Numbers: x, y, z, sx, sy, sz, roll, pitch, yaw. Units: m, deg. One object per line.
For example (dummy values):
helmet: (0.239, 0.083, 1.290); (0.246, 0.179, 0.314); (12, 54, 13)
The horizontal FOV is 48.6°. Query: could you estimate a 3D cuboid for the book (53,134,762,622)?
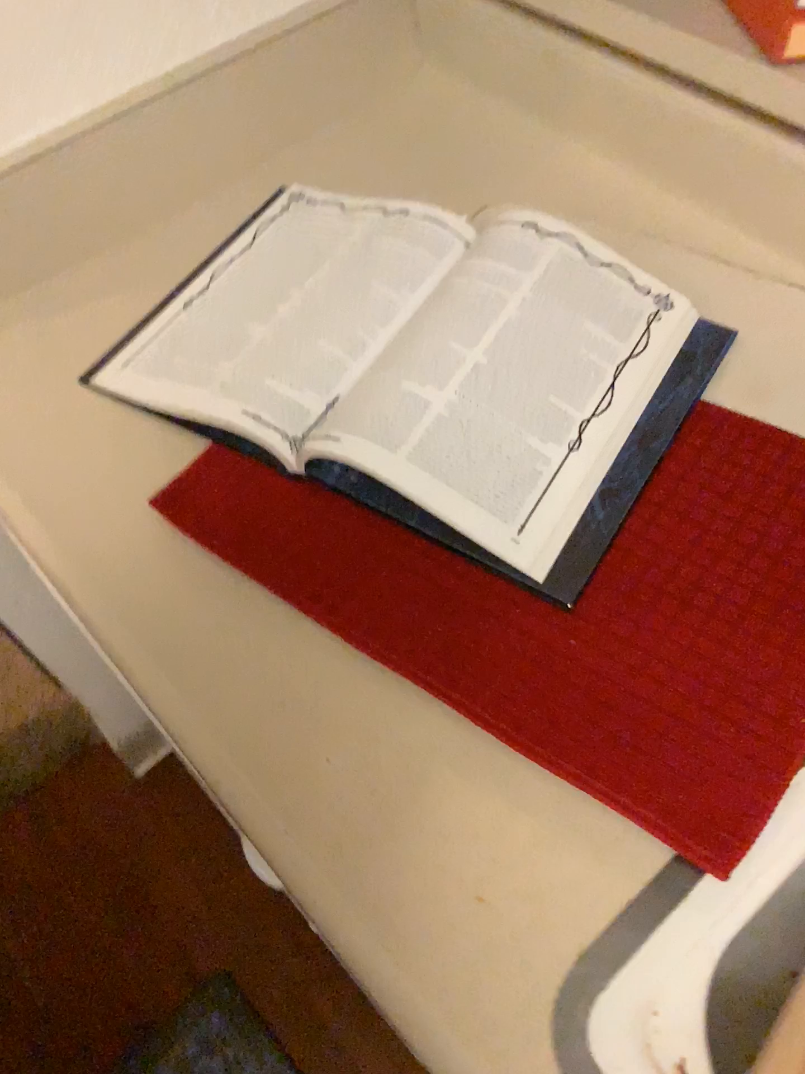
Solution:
book: (0.002, -0.155, 0.695); (0.450, 0.060, 0.290); (24, 62, 19)
